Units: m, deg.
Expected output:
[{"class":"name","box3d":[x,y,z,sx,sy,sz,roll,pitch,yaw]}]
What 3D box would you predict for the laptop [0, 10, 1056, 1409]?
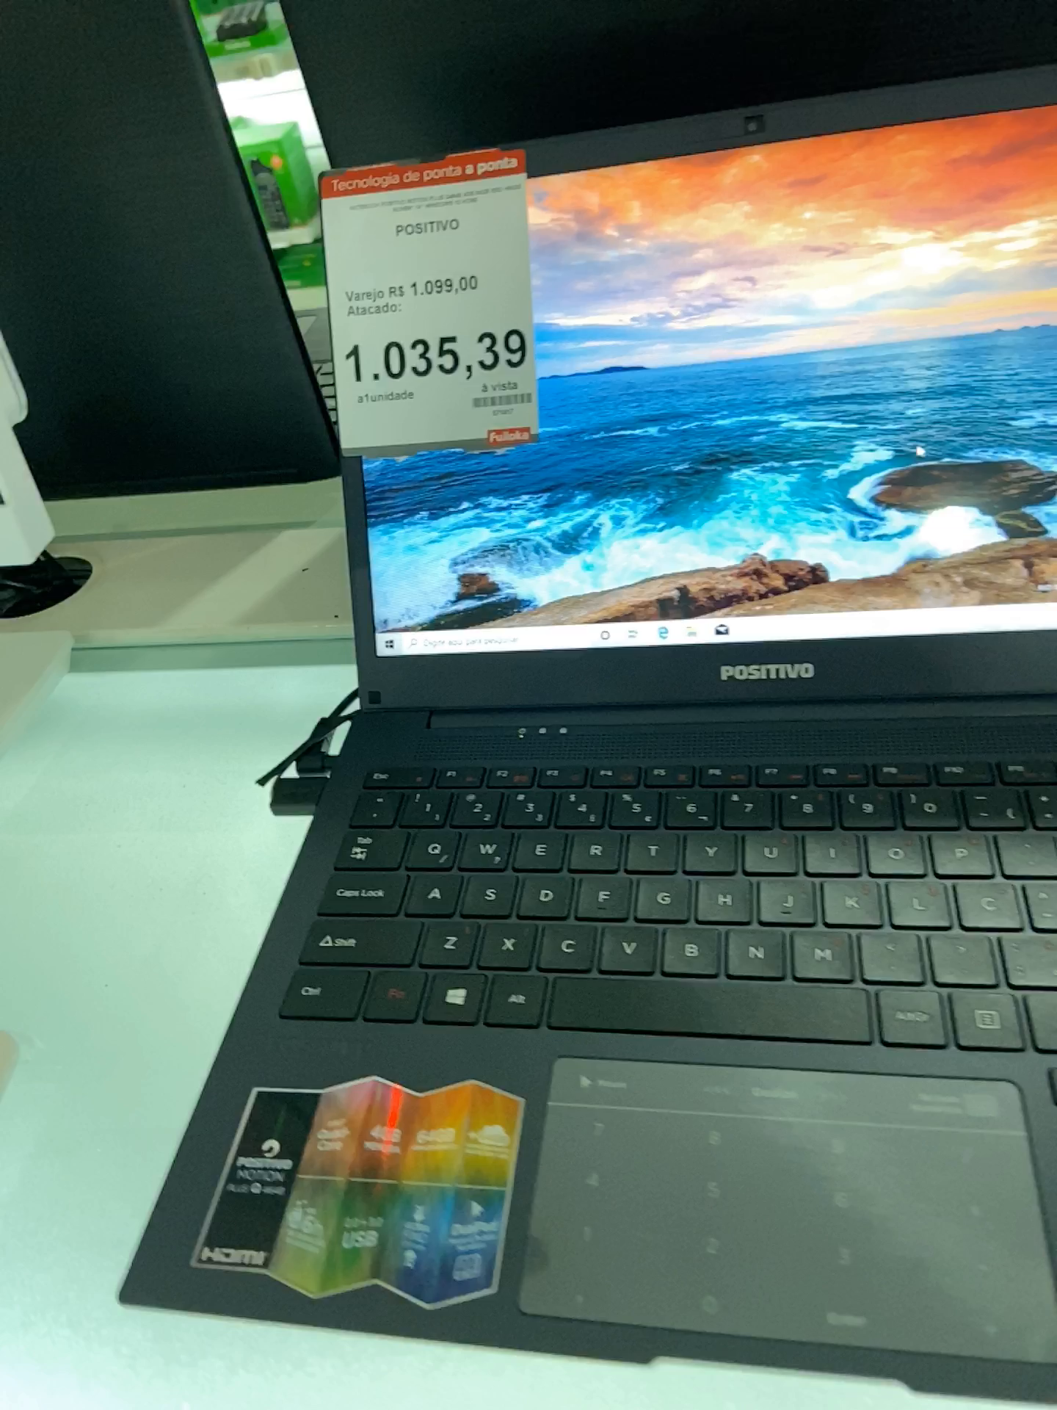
[{"class":"laptop","box3d":[0.068,-0.037,0.320,0.334,0.175,0.356,-2,41,14]}]
